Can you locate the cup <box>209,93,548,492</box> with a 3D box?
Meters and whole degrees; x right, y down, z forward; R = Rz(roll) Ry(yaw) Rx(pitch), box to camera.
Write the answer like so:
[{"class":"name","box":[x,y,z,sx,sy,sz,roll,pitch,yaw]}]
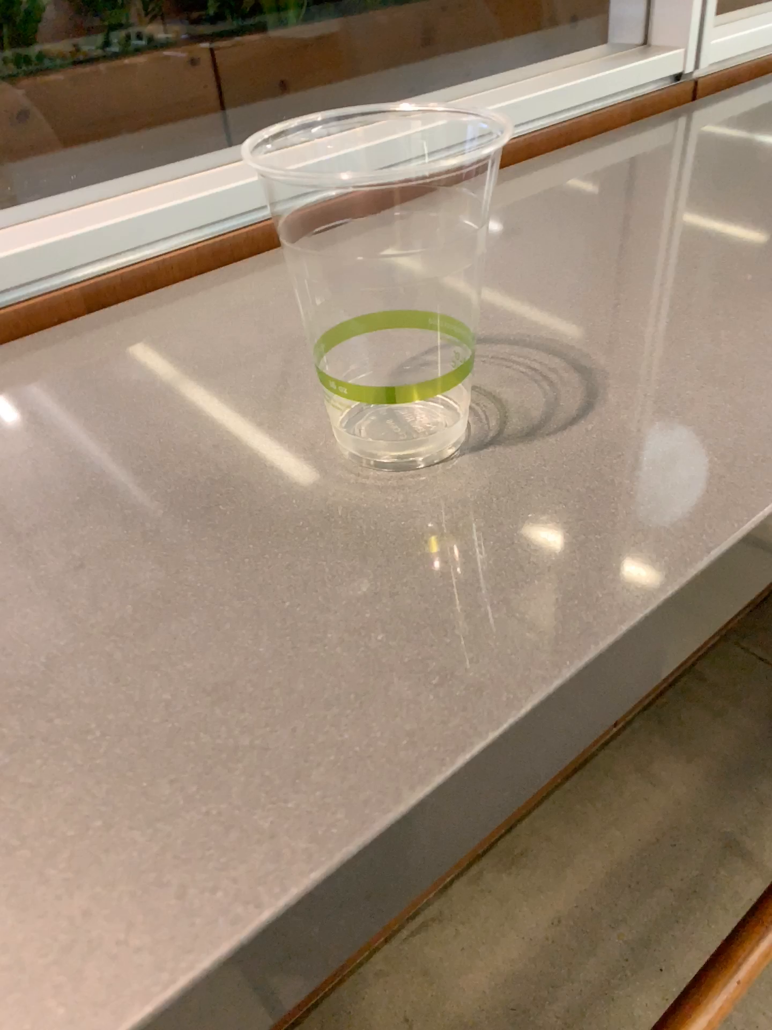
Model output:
[{"class":"cup","box":[0.008,-0.094,0.328,0.100,0.119,0.111,5,39,15]}]
